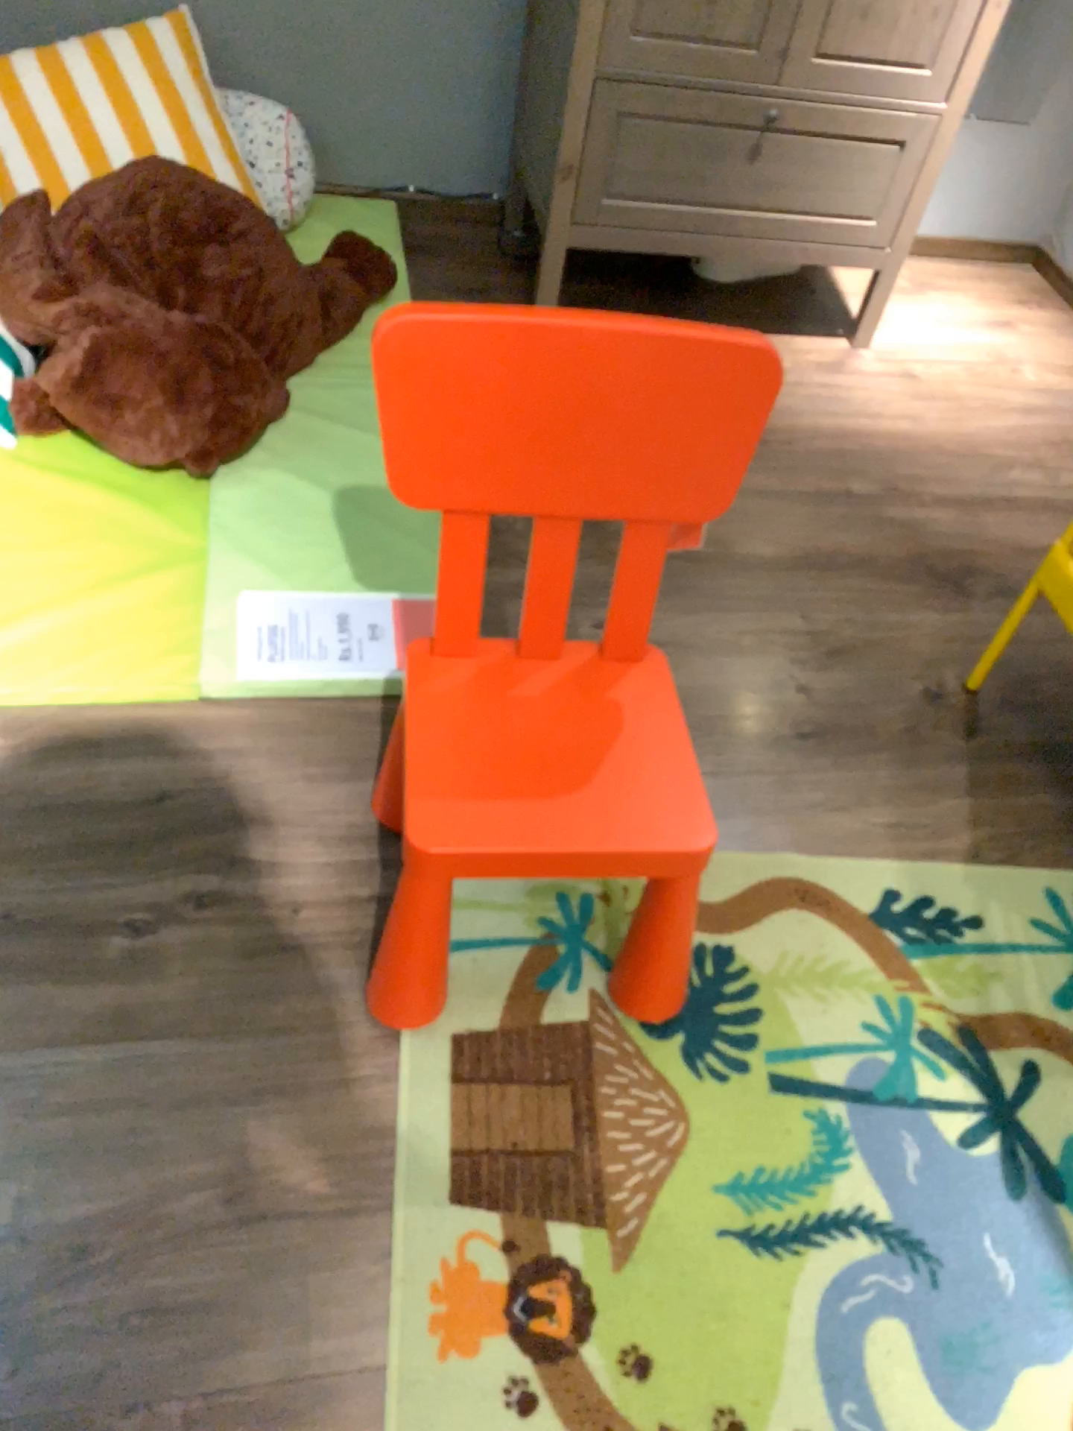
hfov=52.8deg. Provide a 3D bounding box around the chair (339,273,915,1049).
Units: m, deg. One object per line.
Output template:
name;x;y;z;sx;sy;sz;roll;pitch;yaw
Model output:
chair;0.008;-0.024;1.076;0.380;0.598;0.462;2;47;-10
